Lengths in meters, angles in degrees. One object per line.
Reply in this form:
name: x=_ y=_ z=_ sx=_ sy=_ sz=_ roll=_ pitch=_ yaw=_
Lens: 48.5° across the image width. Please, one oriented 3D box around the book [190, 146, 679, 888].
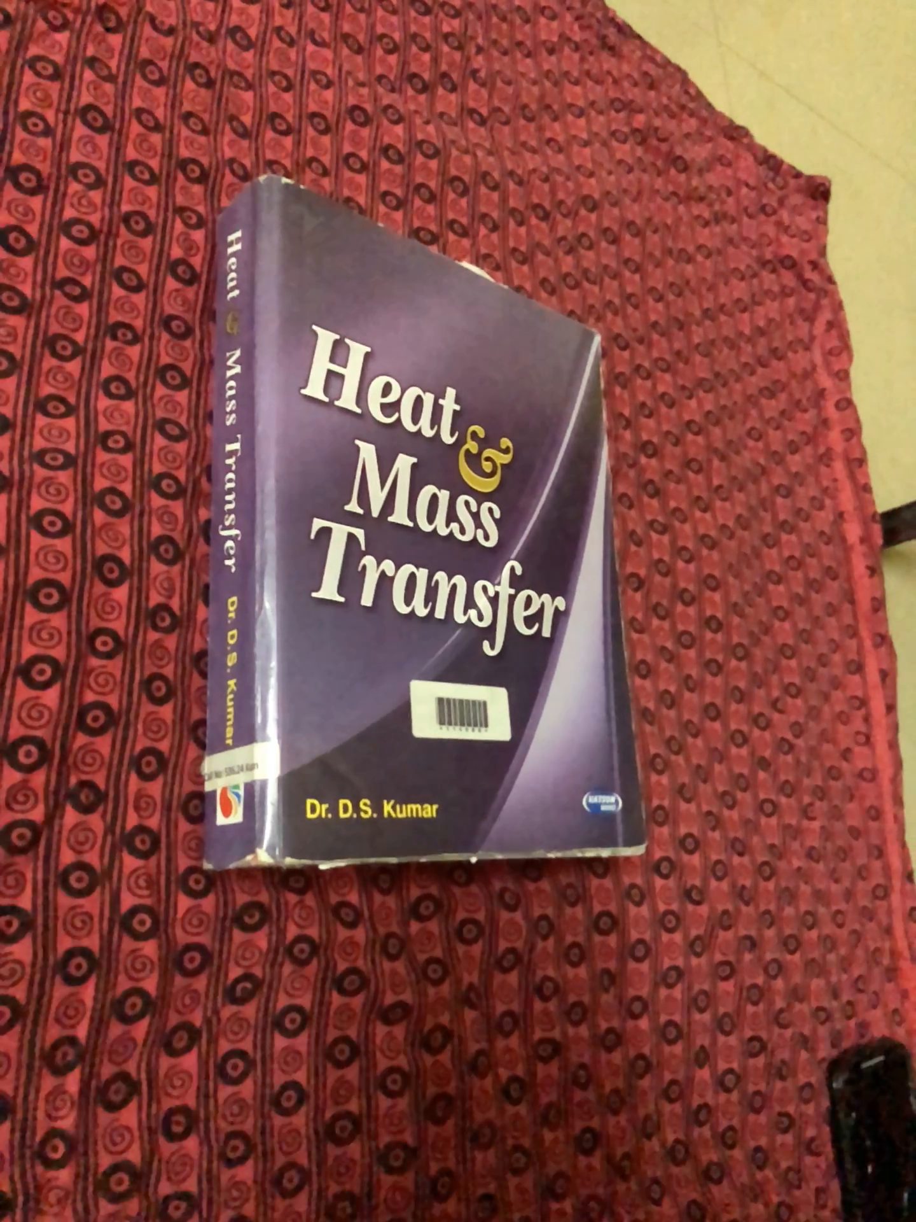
book: x=-0.001 y=-0.019 z=0.346 sx=0.171 sy=0.040 sz=0.211 roll=12 pitch=70 yaw=-42
